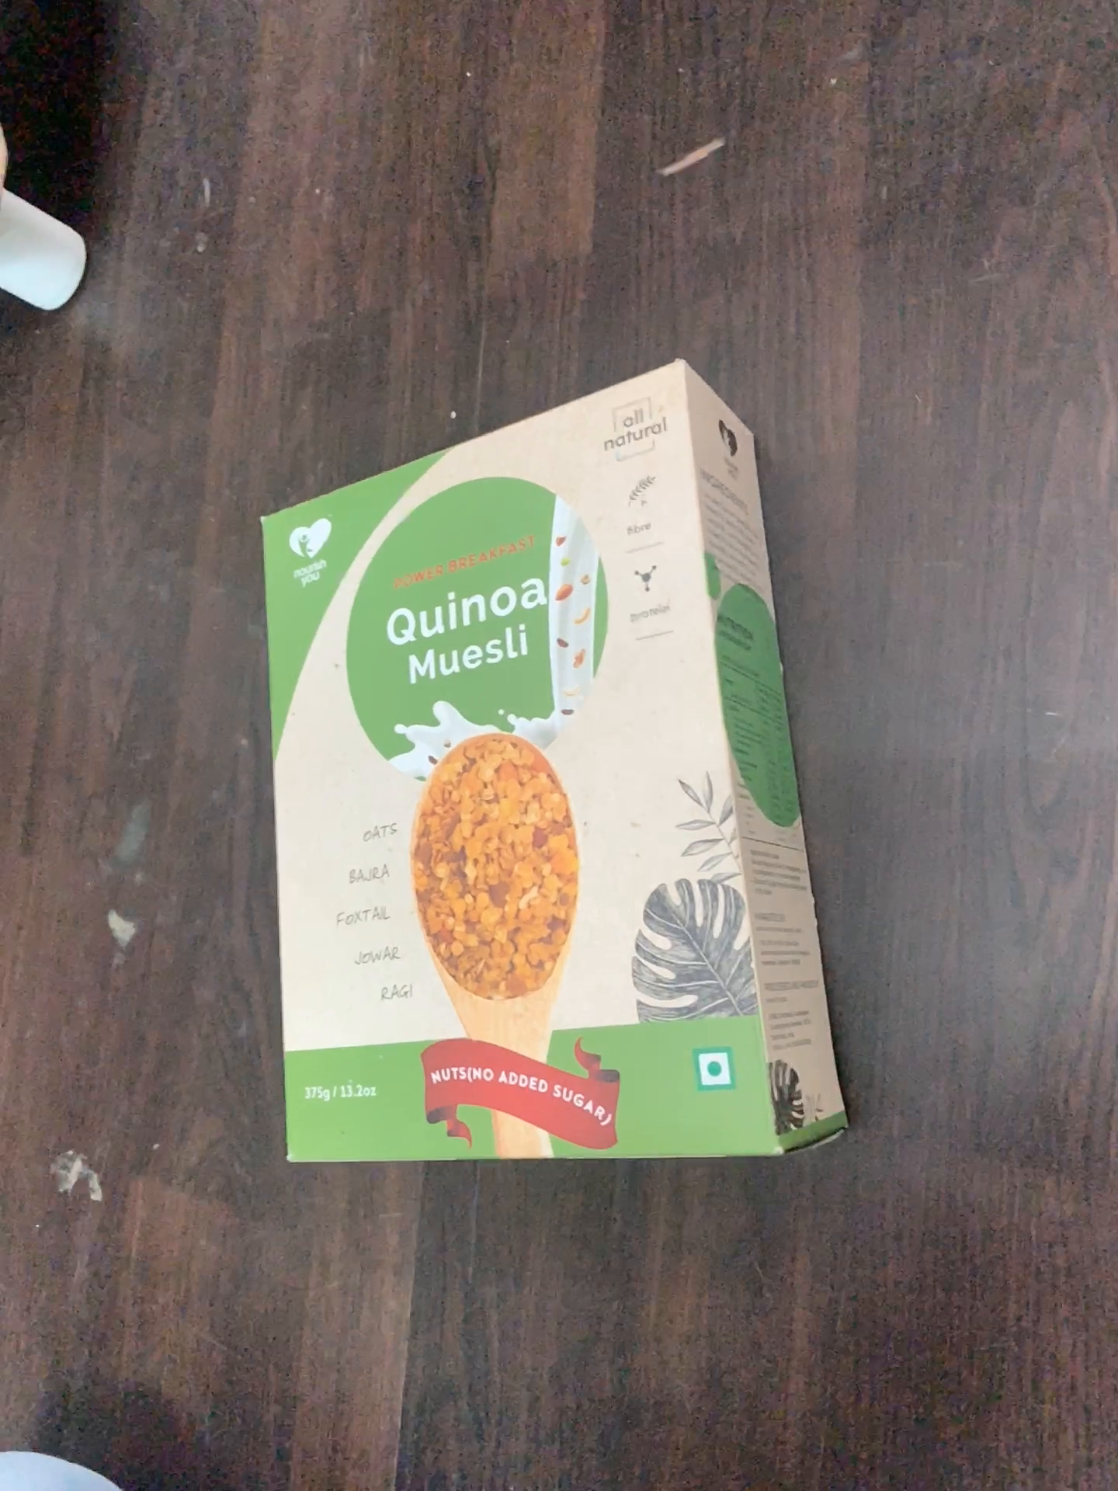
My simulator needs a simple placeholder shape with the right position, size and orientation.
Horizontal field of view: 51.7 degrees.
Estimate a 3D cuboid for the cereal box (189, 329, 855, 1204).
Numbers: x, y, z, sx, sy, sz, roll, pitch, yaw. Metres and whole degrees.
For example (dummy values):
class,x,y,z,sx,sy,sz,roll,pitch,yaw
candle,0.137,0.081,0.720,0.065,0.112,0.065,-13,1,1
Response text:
class,x,y,z,sx,sy,sz,roll,pitch,yaw
cereal box,-0.021,0.017,0.344,0.171,0.070,0.210,-12,77,31
